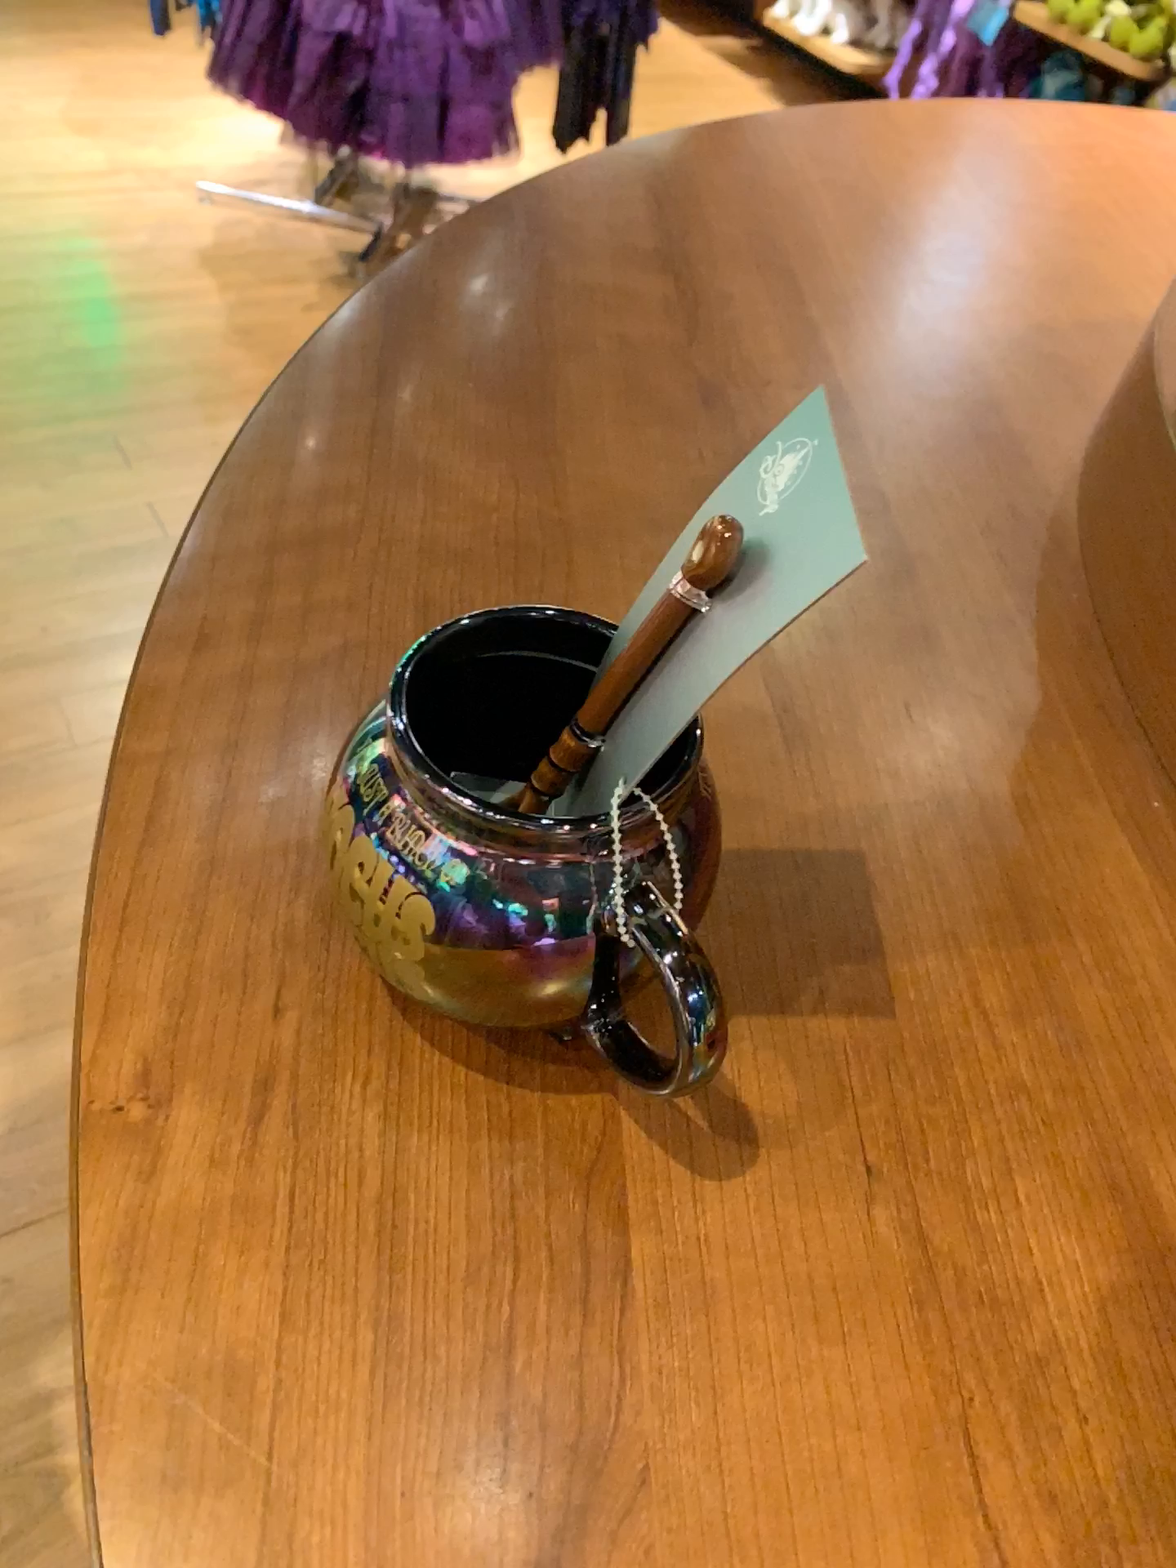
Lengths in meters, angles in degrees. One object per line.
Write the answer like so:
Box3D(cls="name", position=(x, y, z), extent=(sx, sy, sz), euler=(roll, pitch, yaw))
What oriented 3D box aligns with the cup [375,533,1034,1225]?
Box3D(cls="cup", position=(0.020, 0.018, 0.327), extent=(0.100, 0.089, 0.137), euler=(-21, 54, -28))
